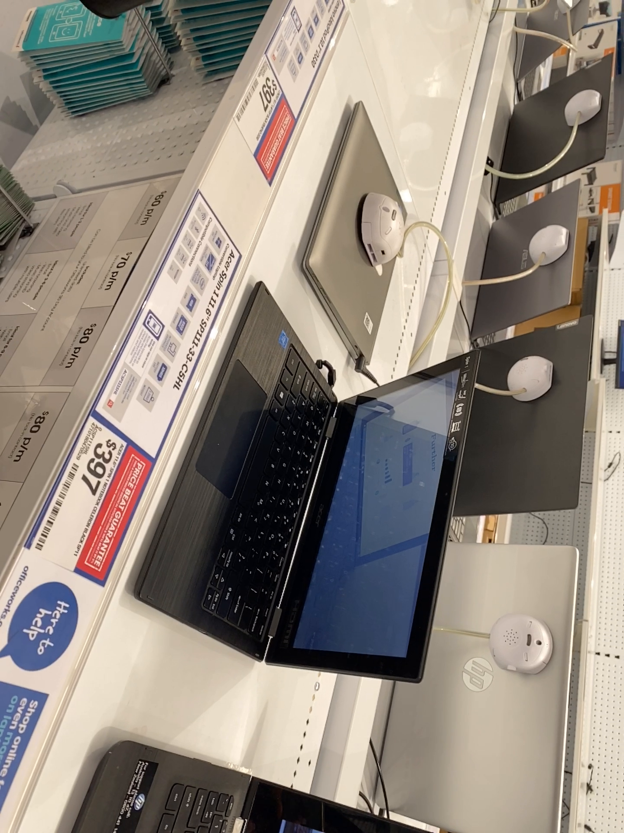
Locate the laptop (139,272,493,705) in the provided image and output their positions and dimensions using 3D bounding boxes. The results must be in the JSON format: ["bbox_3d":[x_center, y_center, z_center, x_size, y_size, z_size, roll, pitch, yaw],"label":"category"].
[{"bbox_3d":[0.032,0.059,0.552,0.197,0.174,0.290,54,46,-50],"label":"laptop"}]

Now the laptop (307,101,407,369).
[{"bbox_3d":[0.068,-0.226,0.801,0.195,0.001,0.284,53,44,-50],"label":"laptop"}]

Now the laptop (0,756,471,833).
[{"bbox_3d":[-0.035,0.459,0.438,0.298,0.190,0.323,53,46,-50],"label":"laptop"}]
